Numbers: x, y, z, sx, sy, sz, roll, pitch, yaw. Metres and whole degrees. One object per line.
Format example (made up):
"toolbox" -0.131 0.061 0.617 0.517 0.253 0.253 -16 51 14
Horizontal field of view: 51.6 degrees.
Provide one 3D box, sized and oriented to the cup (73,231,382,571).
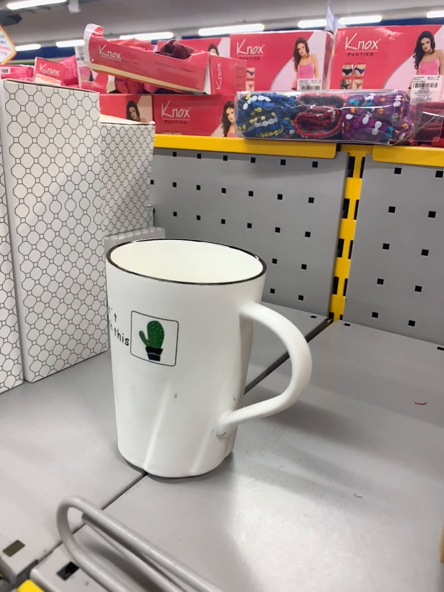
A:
"cup" -0.001 0.039 0.254 0.130 0.120 0.090 16 23 34
